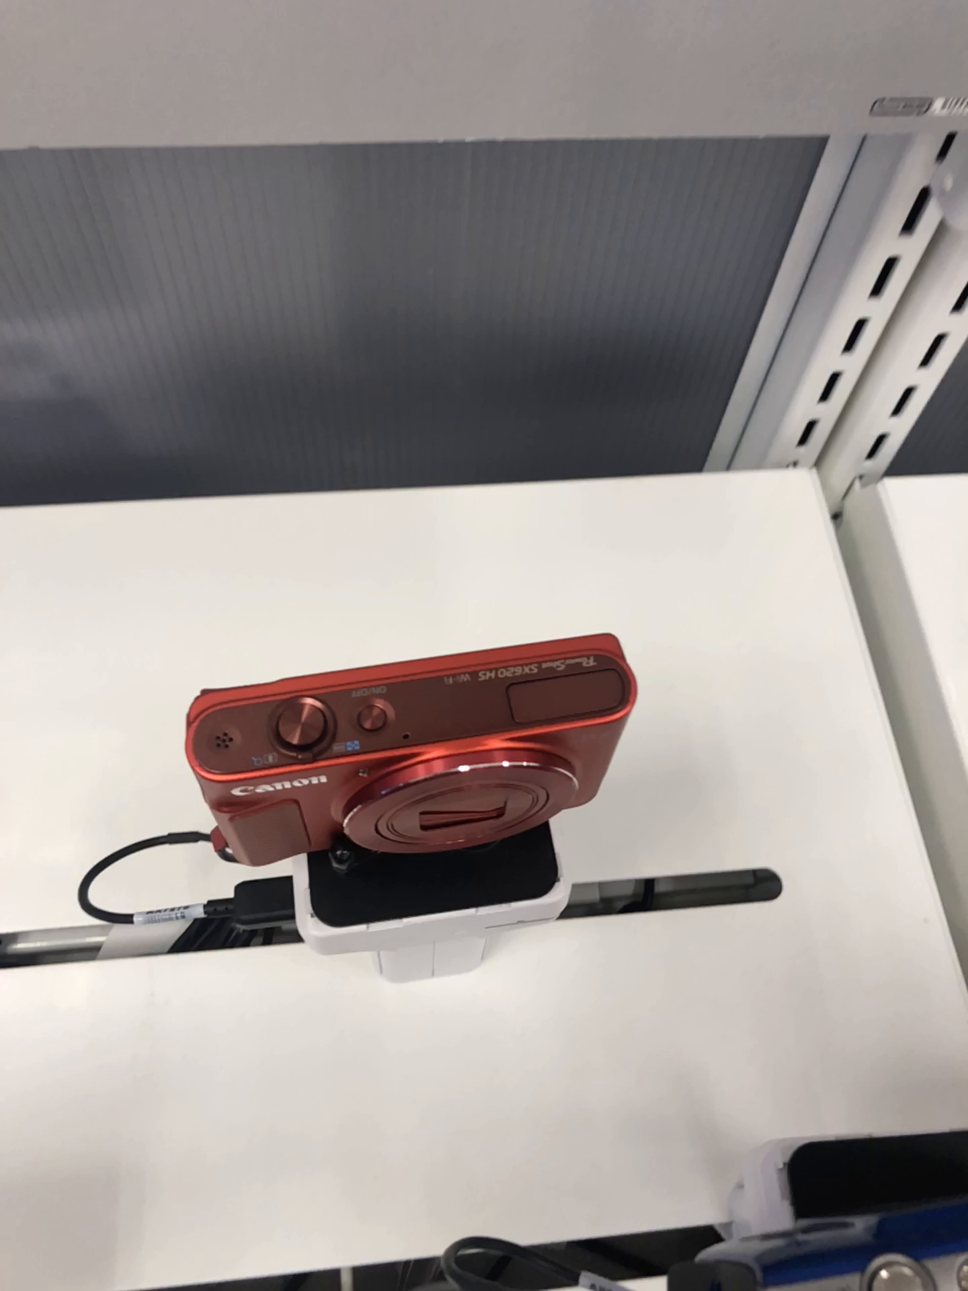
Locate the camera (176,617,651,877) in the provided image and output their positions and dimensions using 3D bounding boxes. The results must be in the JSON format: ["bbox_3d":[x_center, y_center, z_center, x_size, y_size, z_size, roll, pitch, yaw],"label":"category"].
[{"bbox_3d":[-0.016,0.025,0.247,0.096,0.053,0.028,-8,63,-7],"label":"camera"}]
